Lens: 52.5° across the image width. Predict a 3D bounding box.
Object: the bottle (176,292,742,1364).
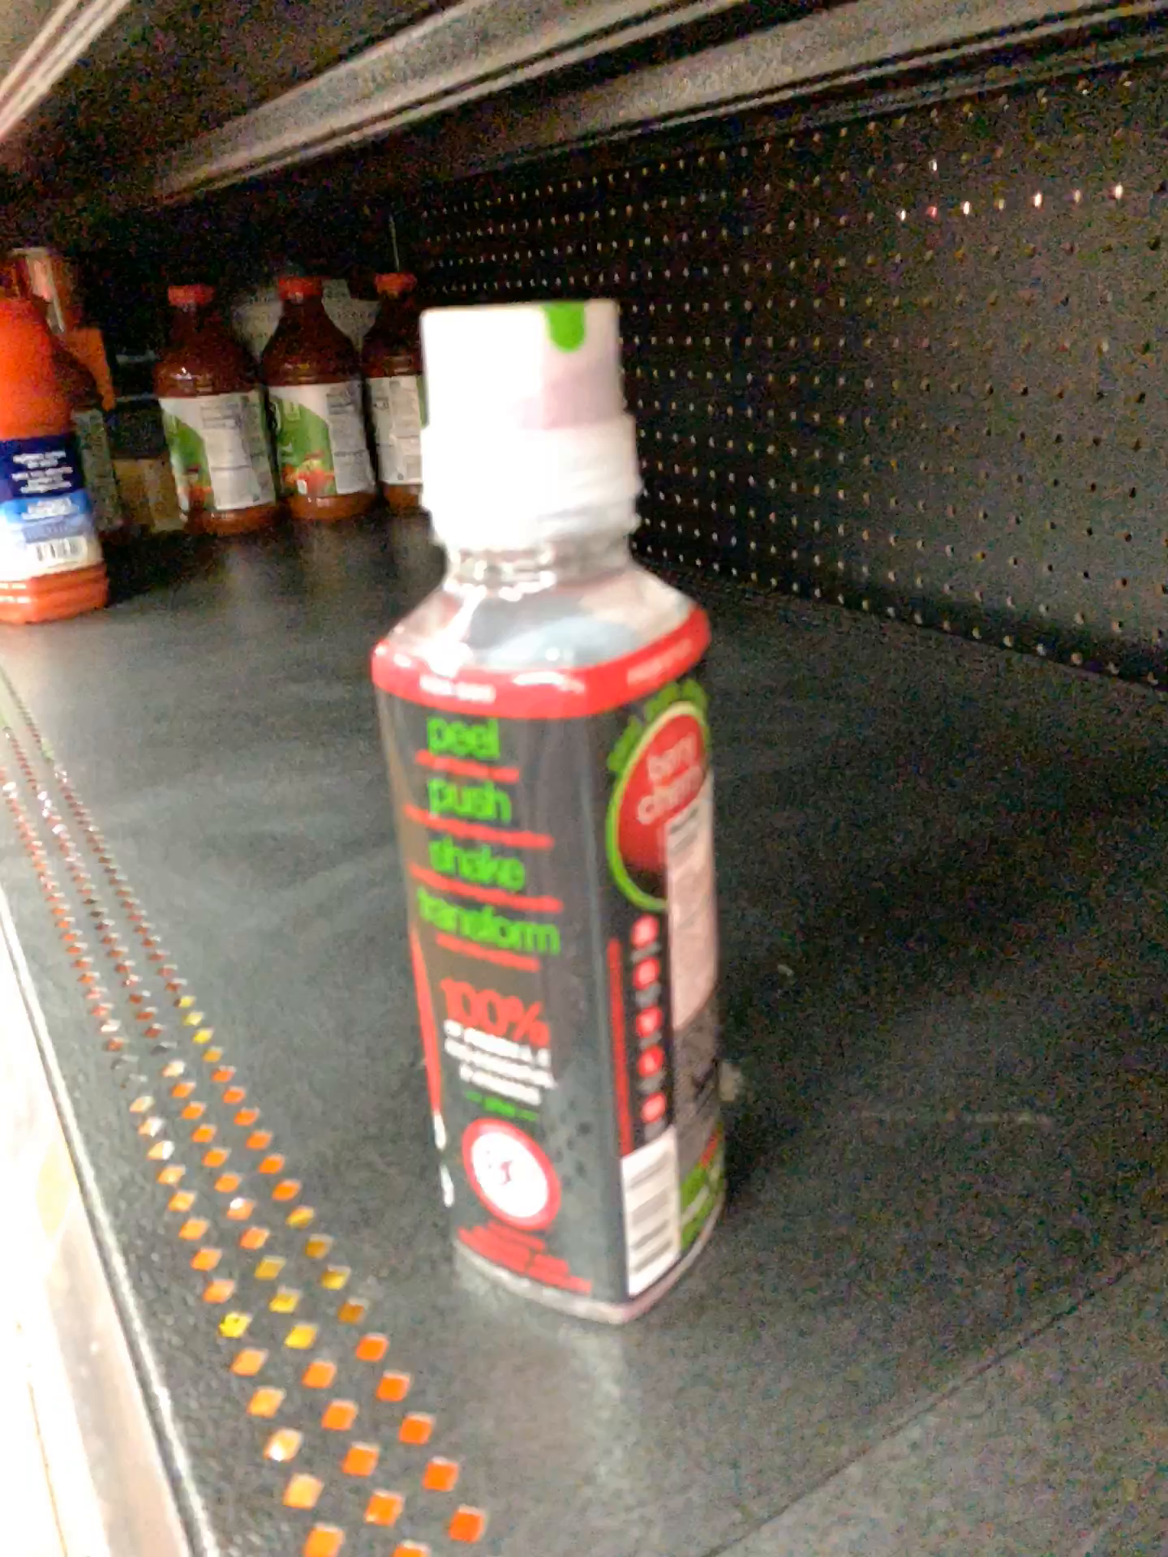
[{"bbox_3d":[-0.015,0.011,0.257,0.070,0.209,0.069,-4,23,2],"label":"bottle"}]
